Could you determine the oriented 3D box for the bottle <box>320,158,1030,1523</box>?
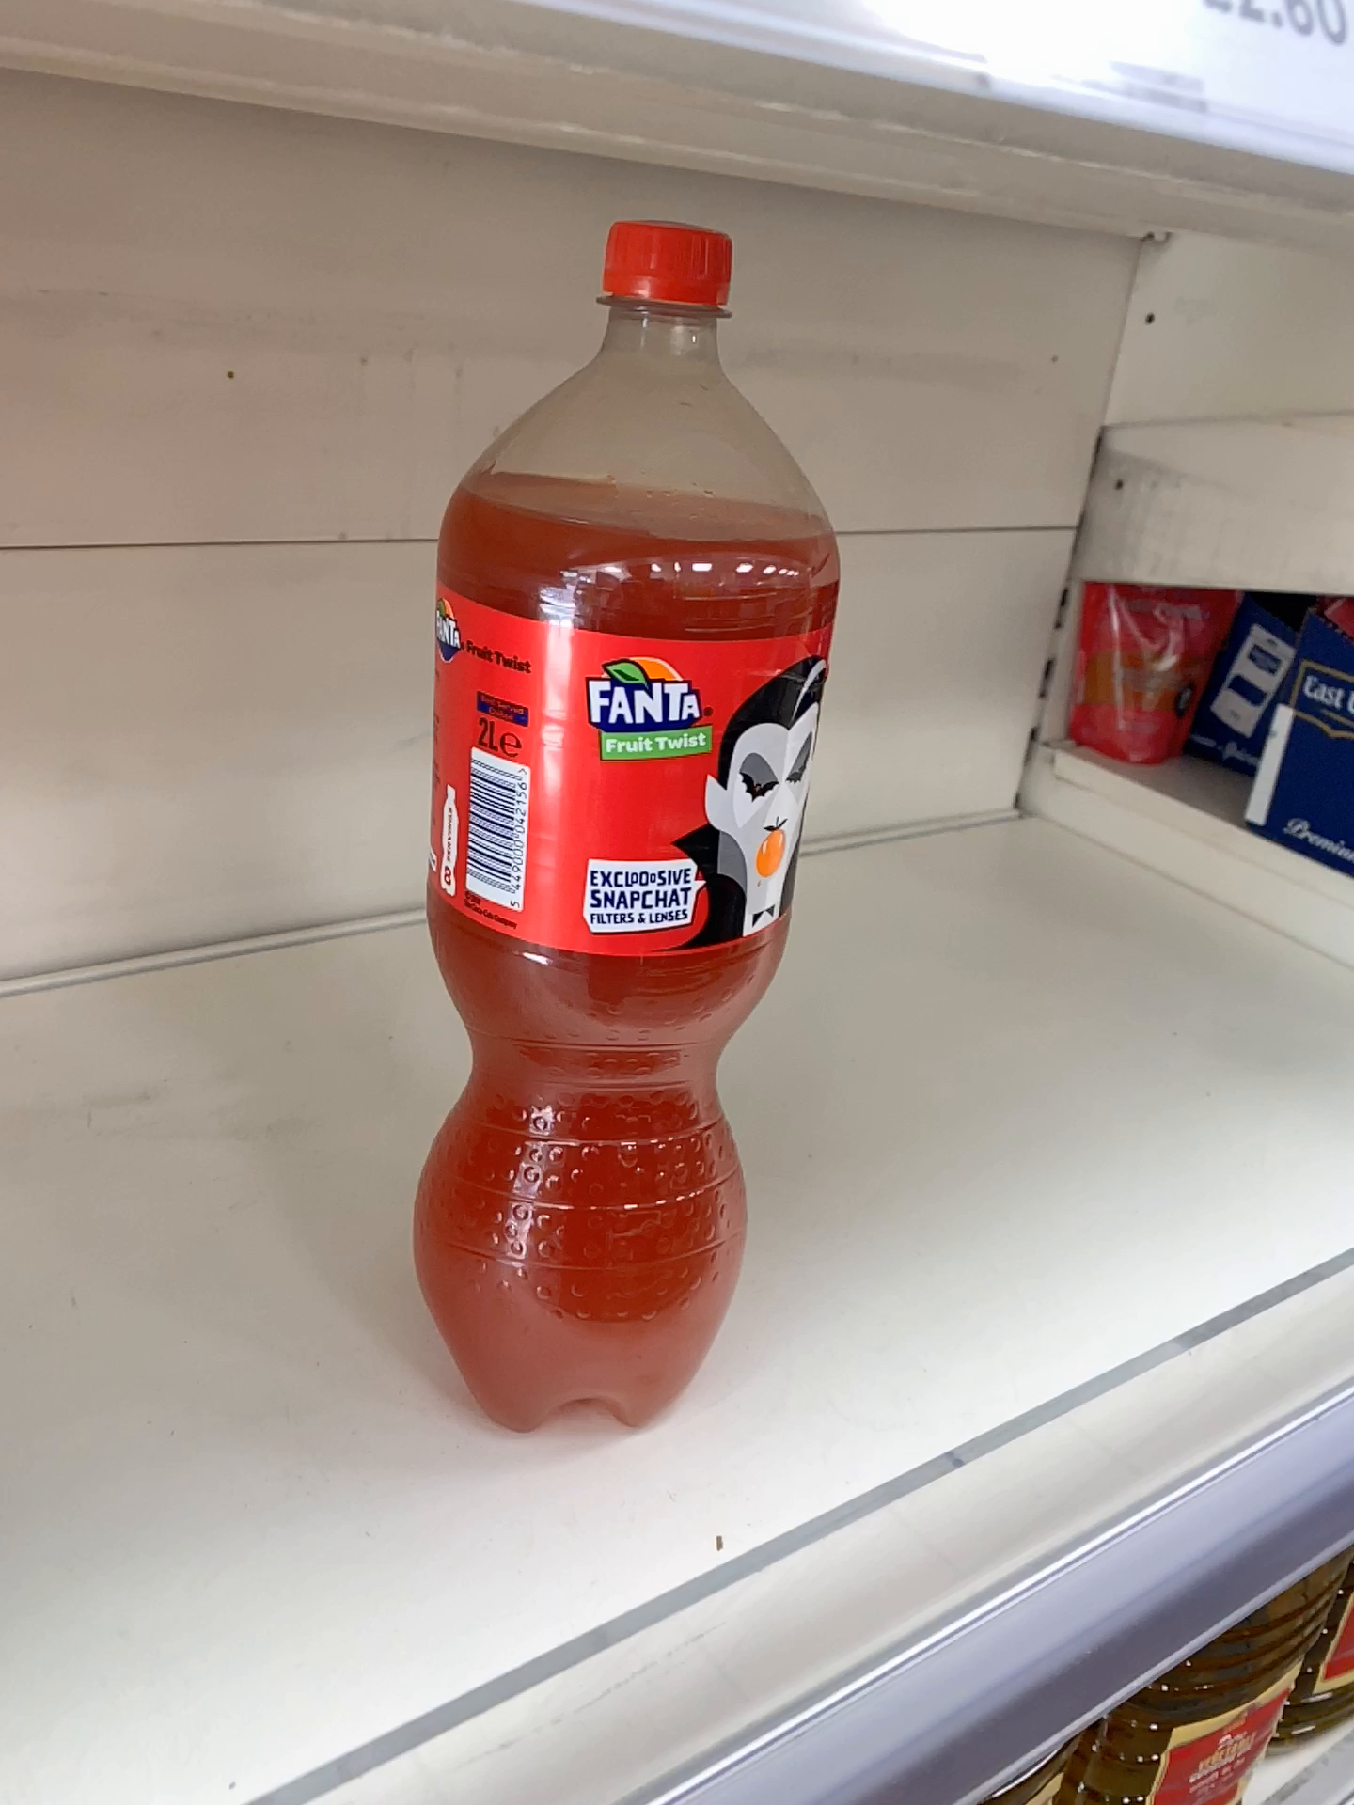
[{"bbox_3d":[-0.017,-0.013,0.387,0.120,0.327,0.111,6,25,-3],"label":"bottle"}]
